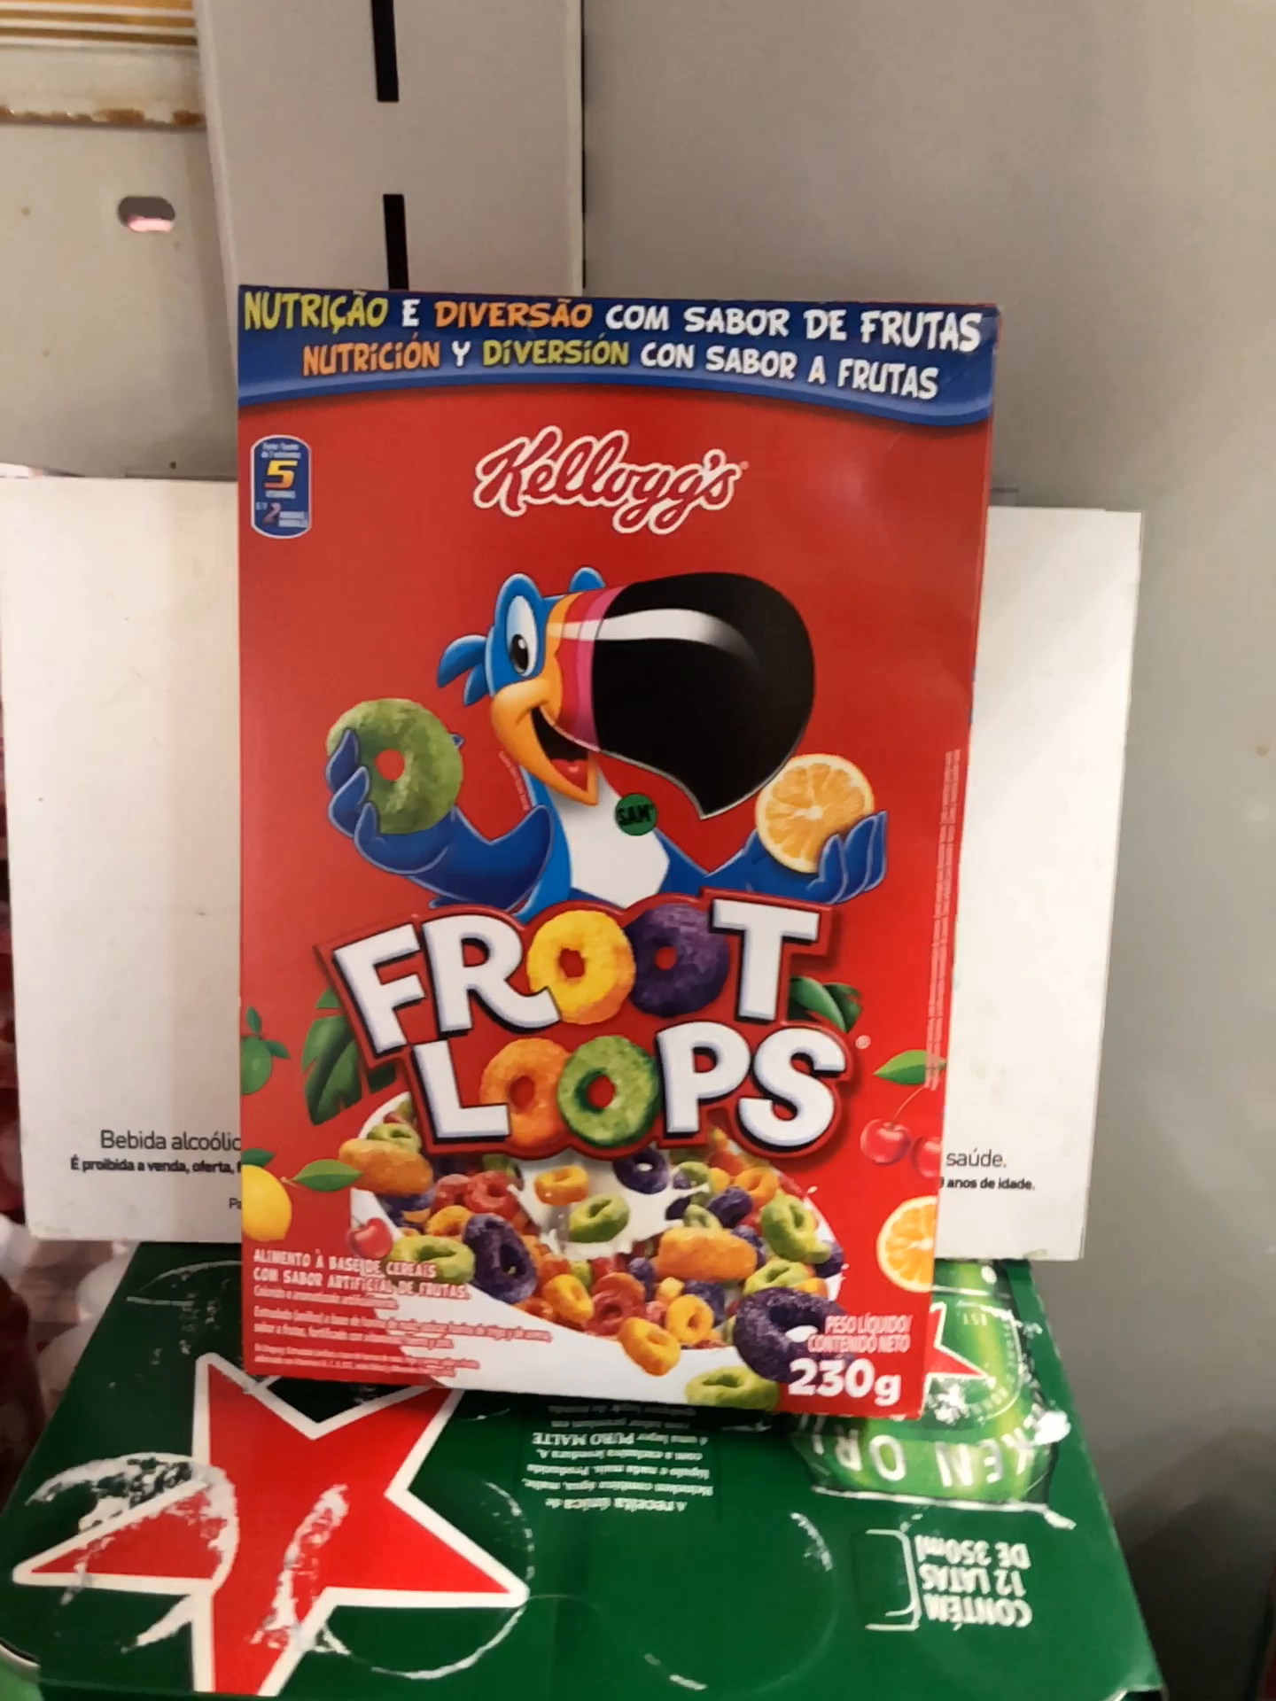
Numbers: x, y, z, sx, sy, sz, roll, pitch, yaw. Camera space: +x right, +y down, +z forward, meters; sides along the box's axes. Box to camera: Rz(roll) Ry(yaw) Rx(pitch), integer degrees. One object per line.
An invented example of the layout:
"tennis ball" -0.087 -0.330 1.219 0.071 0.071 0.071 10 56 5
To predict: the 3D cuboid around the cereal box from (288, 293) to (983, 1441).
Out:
"cereal box" -0.004 0.005 0.353 0.150 0.259 0.060 2 8 3
